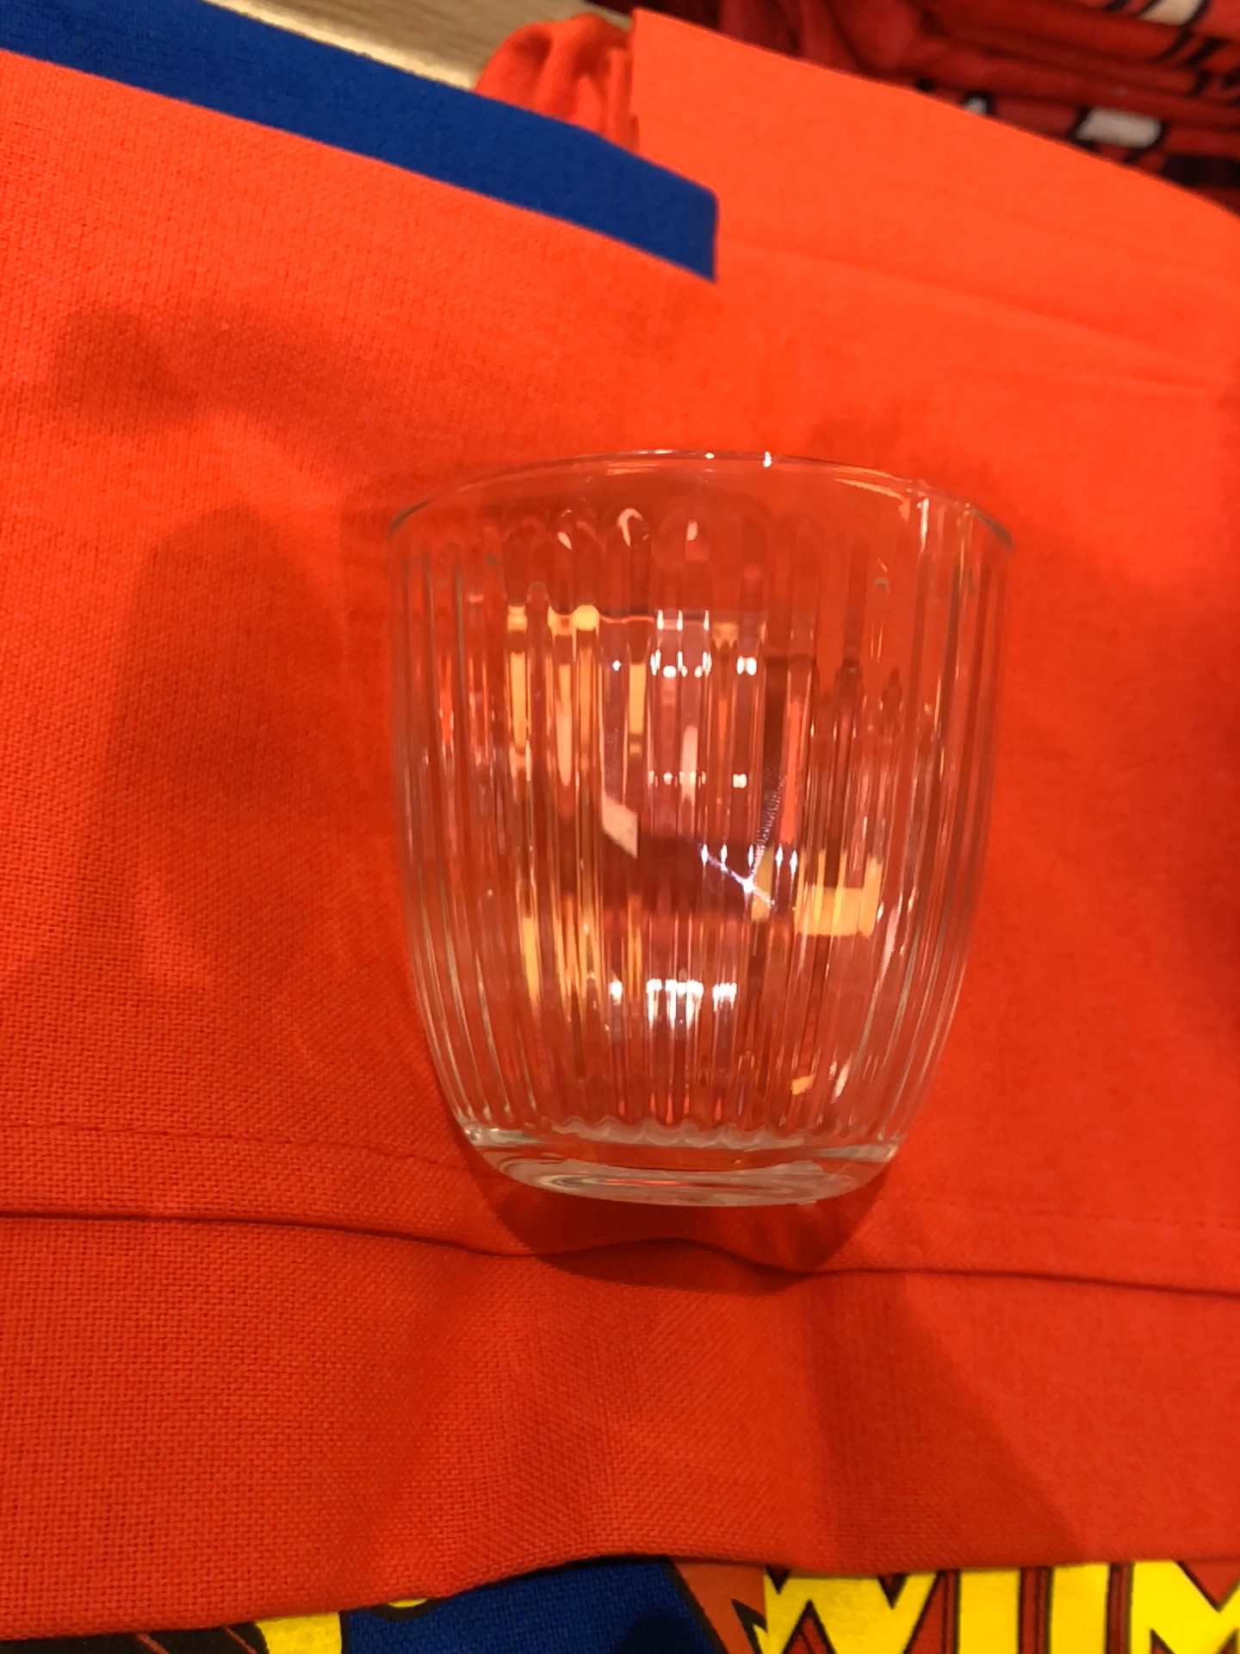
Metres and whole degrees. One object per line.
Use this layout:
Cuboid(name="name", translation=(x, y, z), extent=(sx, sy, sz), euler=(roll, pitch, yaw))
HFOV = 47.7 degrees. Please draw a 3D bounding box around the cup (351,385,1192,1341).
Cuboid(name="cup", translation=(0.016, 0.006, 0.174), extent=(0.080, 0.060, 0.090), euler=(5, 87, -21))
